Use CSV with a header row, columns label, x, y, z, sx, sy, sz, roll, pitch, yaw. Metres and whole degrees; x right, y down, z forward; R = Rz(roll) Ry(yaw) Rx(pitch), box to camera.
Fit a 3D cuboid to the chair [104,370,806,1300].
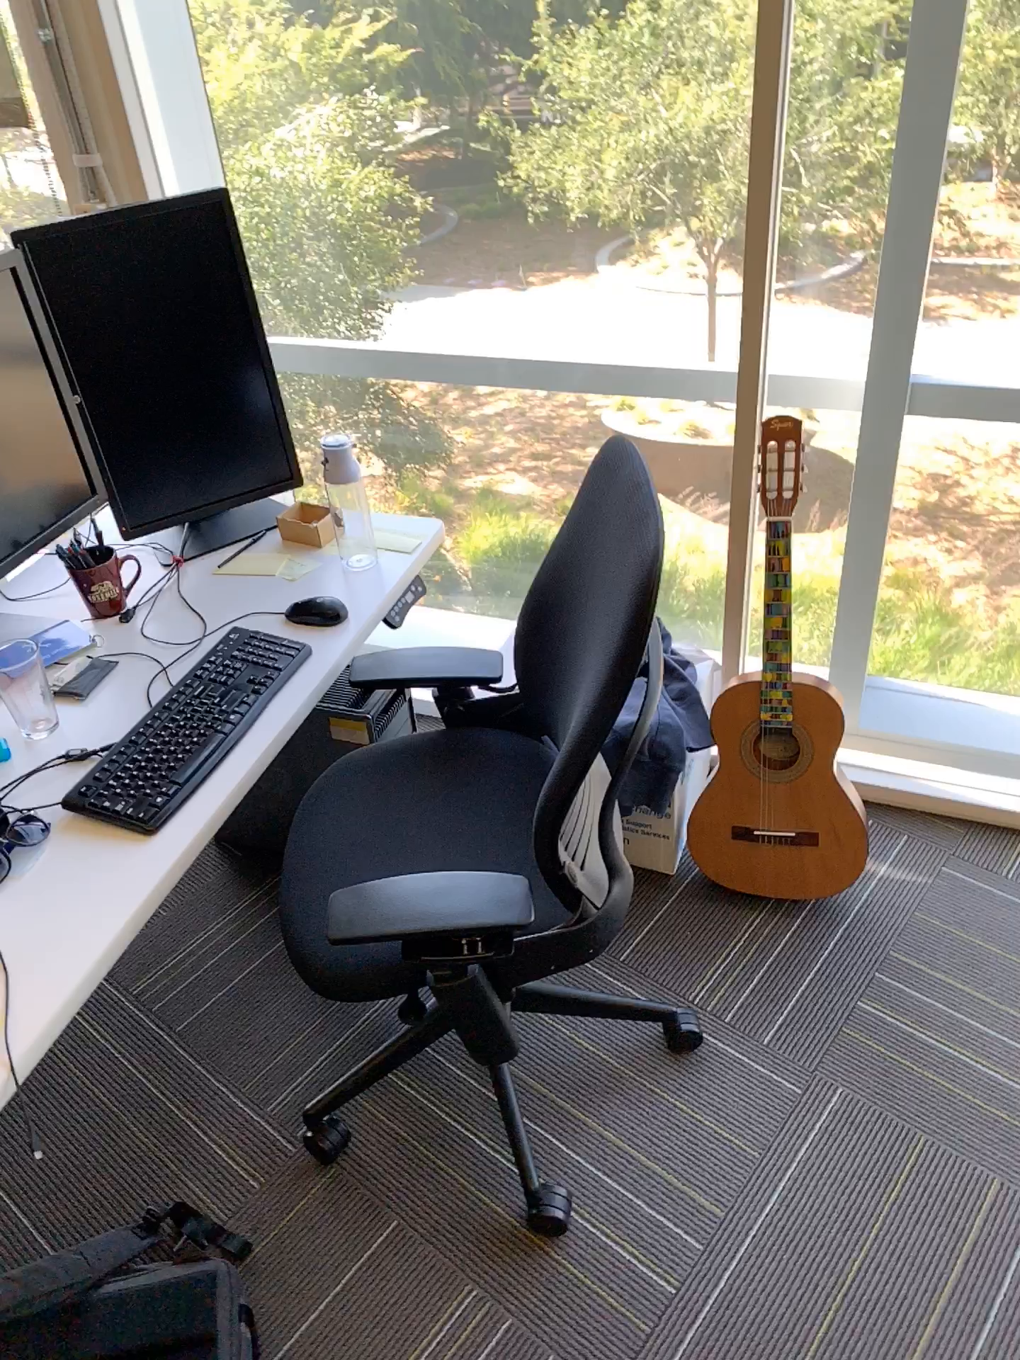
label,x,y,z,sx,sy,sz,roll,pitch,yaw
chair,-0.048,0.268,1.659,0.690,1.222,0.715,-8,36,-4
